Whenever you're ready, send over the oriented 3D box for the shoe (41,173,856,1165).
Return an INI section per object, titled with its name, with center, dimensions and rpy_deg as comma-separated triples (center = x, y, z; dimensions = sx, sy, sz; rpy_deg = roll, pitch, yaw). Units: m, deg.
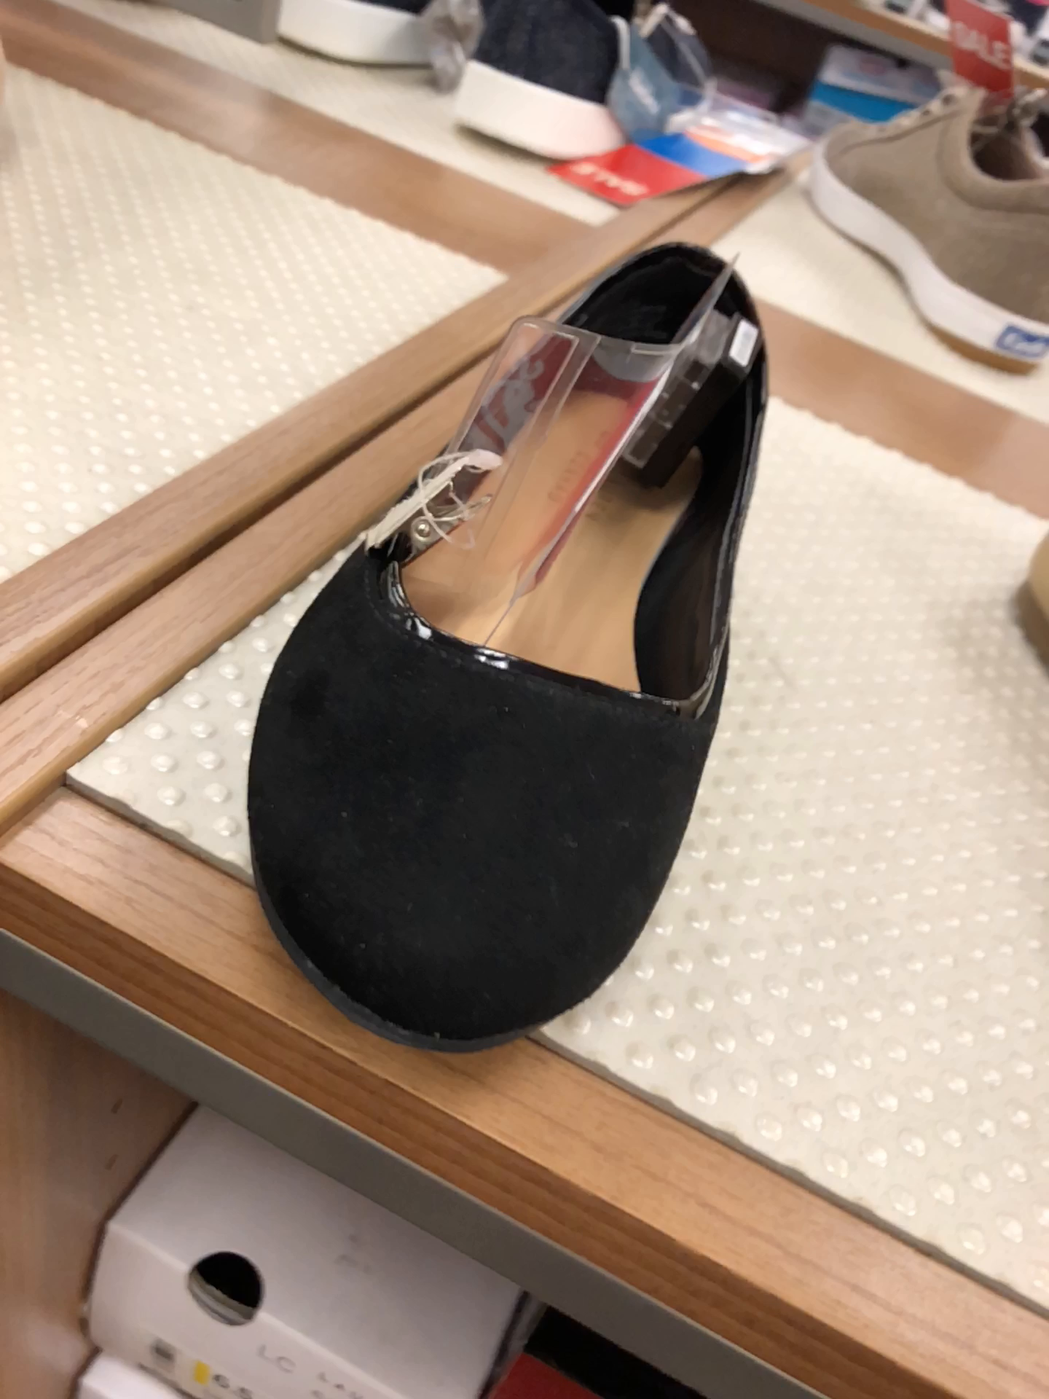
[shoe]
center = 0.009, -0.039, 0.250
dimensions = 0.091, 0.064, 0.239
rpy_deg = 21, 38, 3
